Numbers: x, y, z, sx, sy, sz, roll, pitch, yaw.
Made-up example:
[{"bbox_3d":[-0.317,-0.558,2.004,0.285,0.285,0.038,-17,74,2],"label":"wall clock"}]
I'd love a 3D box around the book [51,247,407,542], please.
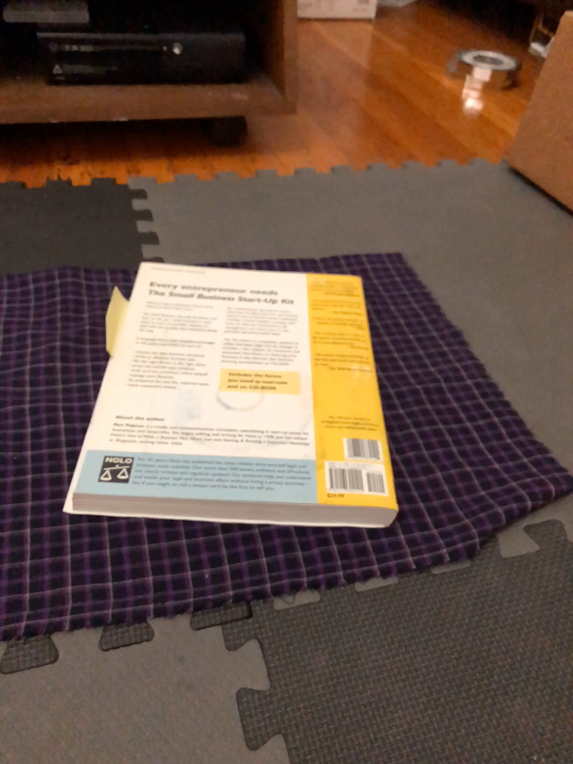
[{"bbox_3d":[-0.037,-0.013,0.538,0.230,0.030,0.312,4,42,-3],"label":"book"}]
